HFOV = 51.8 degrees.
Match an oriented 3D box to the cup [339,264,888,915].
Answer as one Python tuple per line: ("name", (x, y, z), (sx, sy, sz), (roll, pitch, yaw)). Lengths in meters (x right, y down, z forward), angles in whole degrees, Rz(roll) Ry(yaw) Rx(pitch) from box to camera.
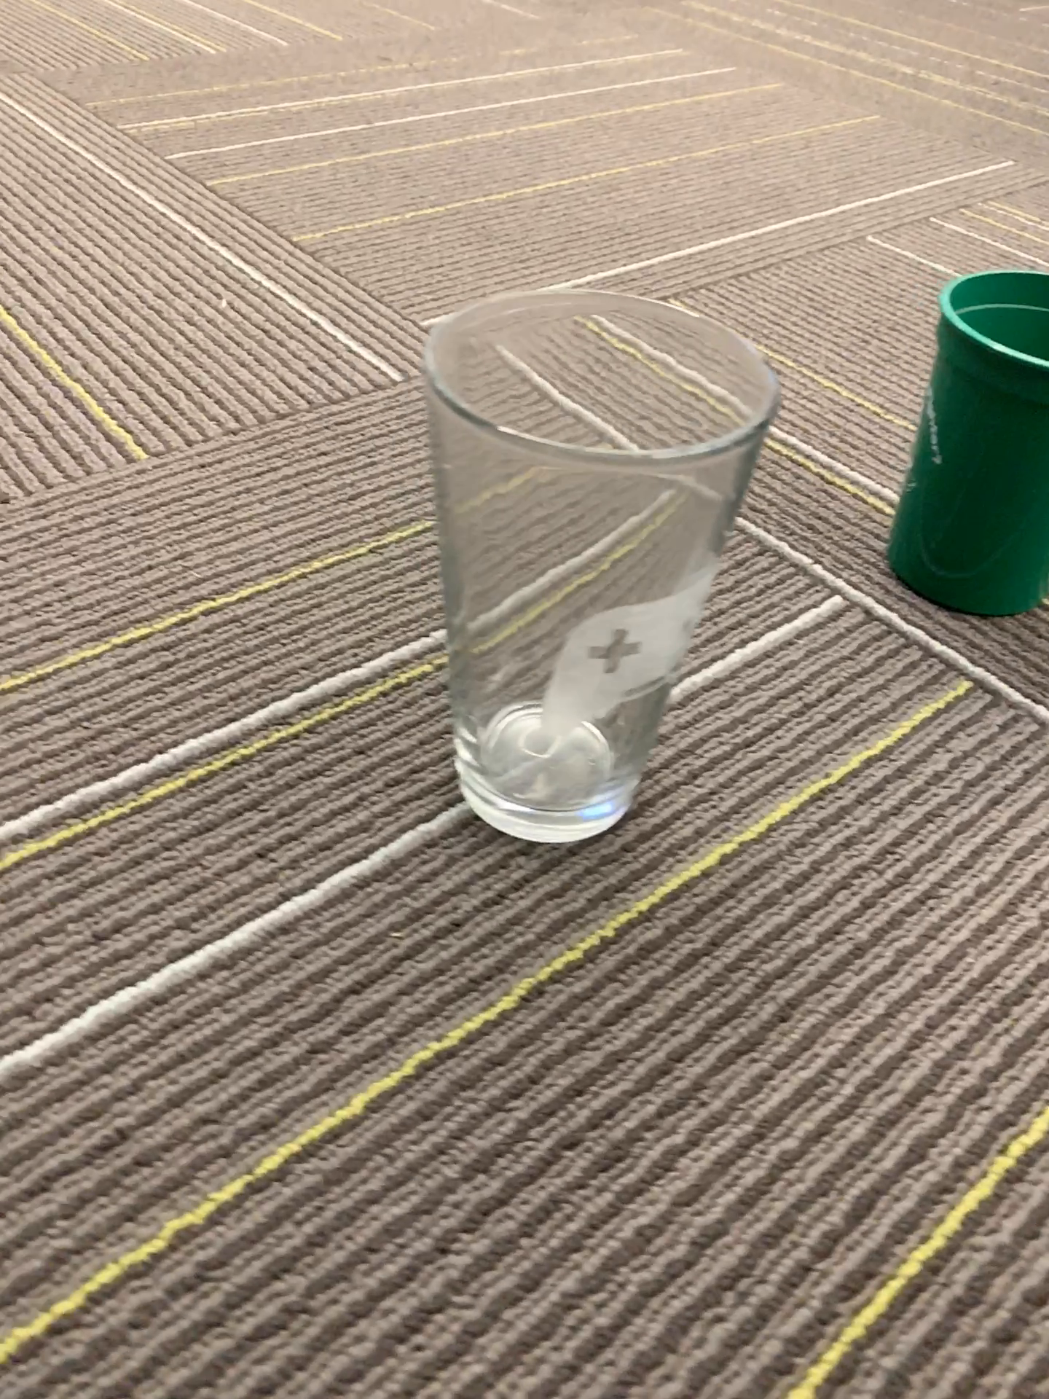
("cup", (0.018, -0.031, 0.288), (0.090, 0.119, 0.090), (2, 43, -2))

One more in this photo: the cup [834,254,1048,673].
("cup", (0.187, -0.090, 0.411), (0.070, 0.119, 0.080), (-22, 49, -26))
